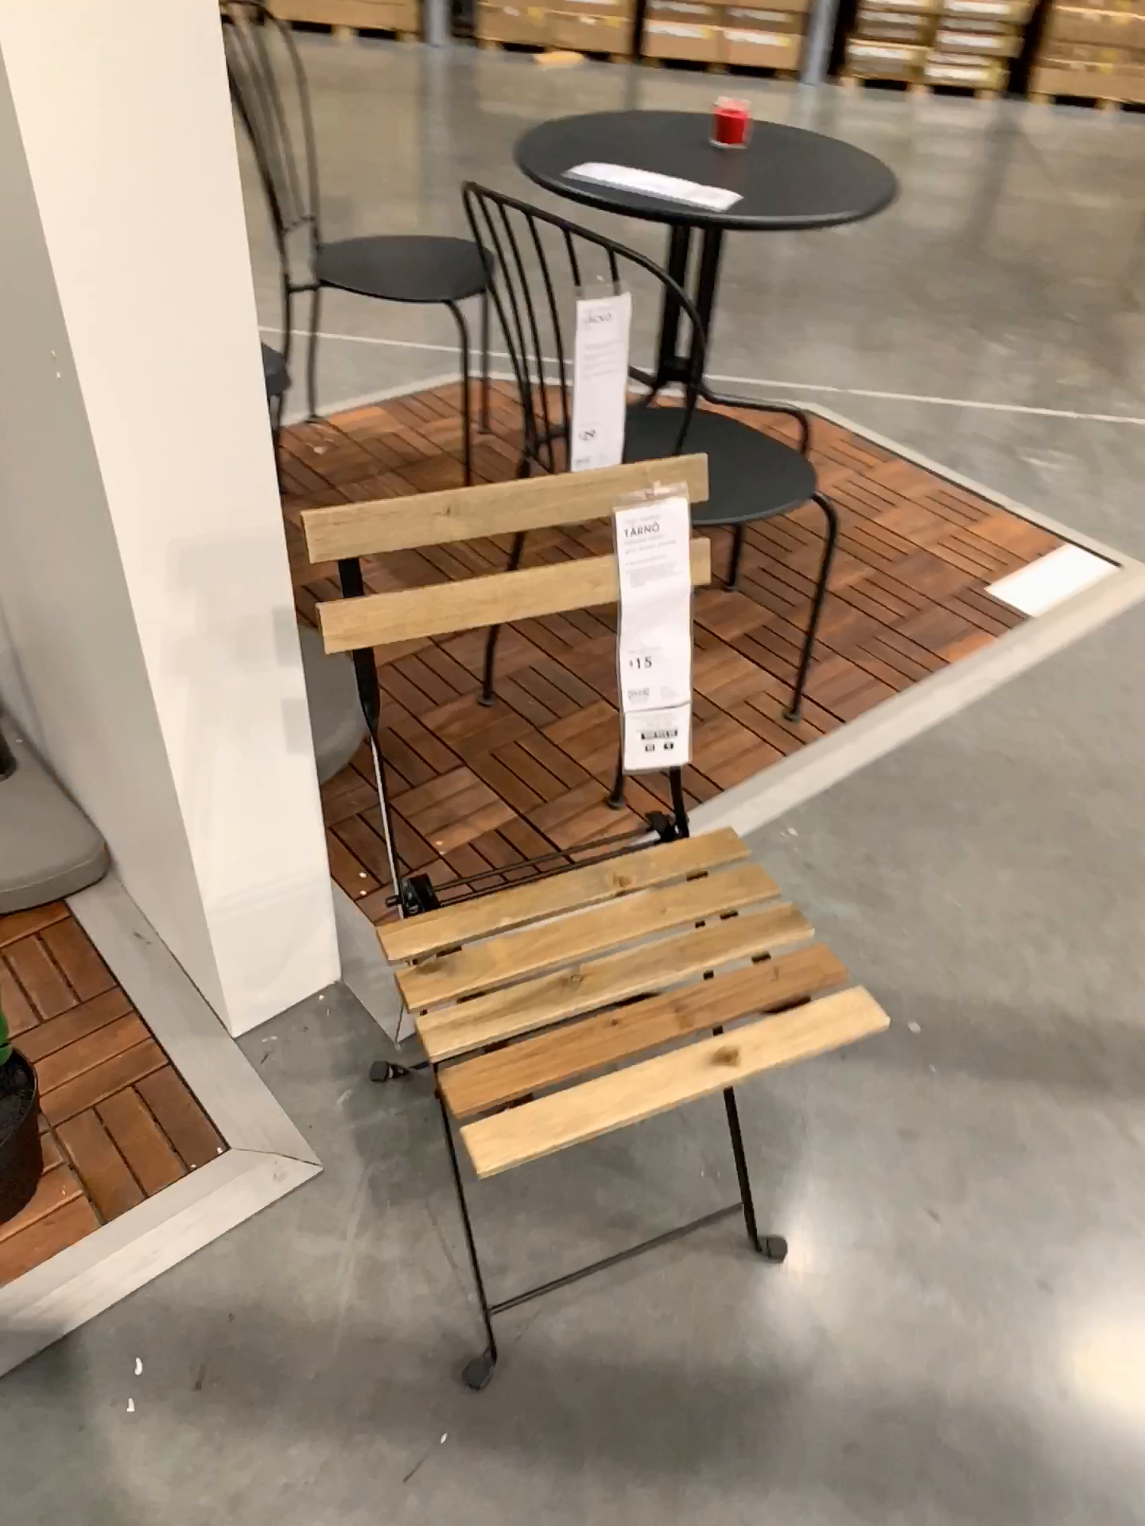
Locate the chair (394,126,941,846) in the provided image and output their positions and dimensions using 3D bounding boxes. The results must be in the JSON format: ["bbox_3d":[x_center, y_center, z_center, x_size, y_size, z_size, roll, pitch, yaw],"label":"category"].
[{"bbox_3d":[0.099,-0.402,1.709,0.557,0.821,0.399,-26,49,-31],"label":"chair"}]

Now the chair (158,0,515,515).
[{"bbox_3d":[-0.408,-0.966,2.272,0.546,0.831,0.380,3,41,-2],"label":"chair"}]

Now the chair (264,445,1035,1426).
[{"bbox_3d":[0.004,0.164,1.108,0.408,0.721,0.478,-13,44,-20],"label":"chair"}]
